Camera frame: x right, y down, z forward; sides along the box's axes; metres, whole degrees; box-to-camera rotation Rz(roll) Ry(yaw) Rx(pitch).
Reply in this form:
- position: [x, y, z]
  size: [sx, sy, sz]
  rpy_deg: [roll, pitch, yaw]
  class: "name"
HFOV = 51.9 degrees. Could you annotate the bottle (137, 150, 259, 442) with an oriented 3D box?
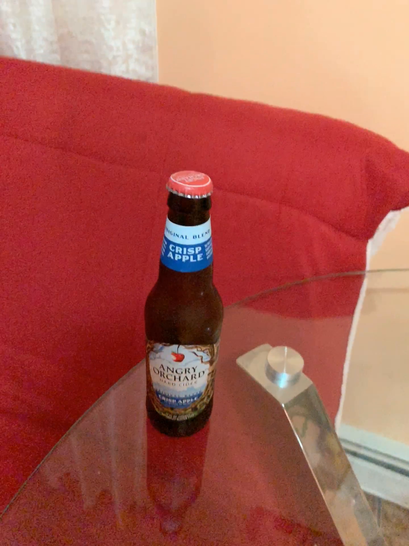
- position: [-0.013, 0.031, 0.334]
  size: [0.070, 0.231, 0.070]
  rpy_deg: [4, 34, -3]
  class: "bottle"
